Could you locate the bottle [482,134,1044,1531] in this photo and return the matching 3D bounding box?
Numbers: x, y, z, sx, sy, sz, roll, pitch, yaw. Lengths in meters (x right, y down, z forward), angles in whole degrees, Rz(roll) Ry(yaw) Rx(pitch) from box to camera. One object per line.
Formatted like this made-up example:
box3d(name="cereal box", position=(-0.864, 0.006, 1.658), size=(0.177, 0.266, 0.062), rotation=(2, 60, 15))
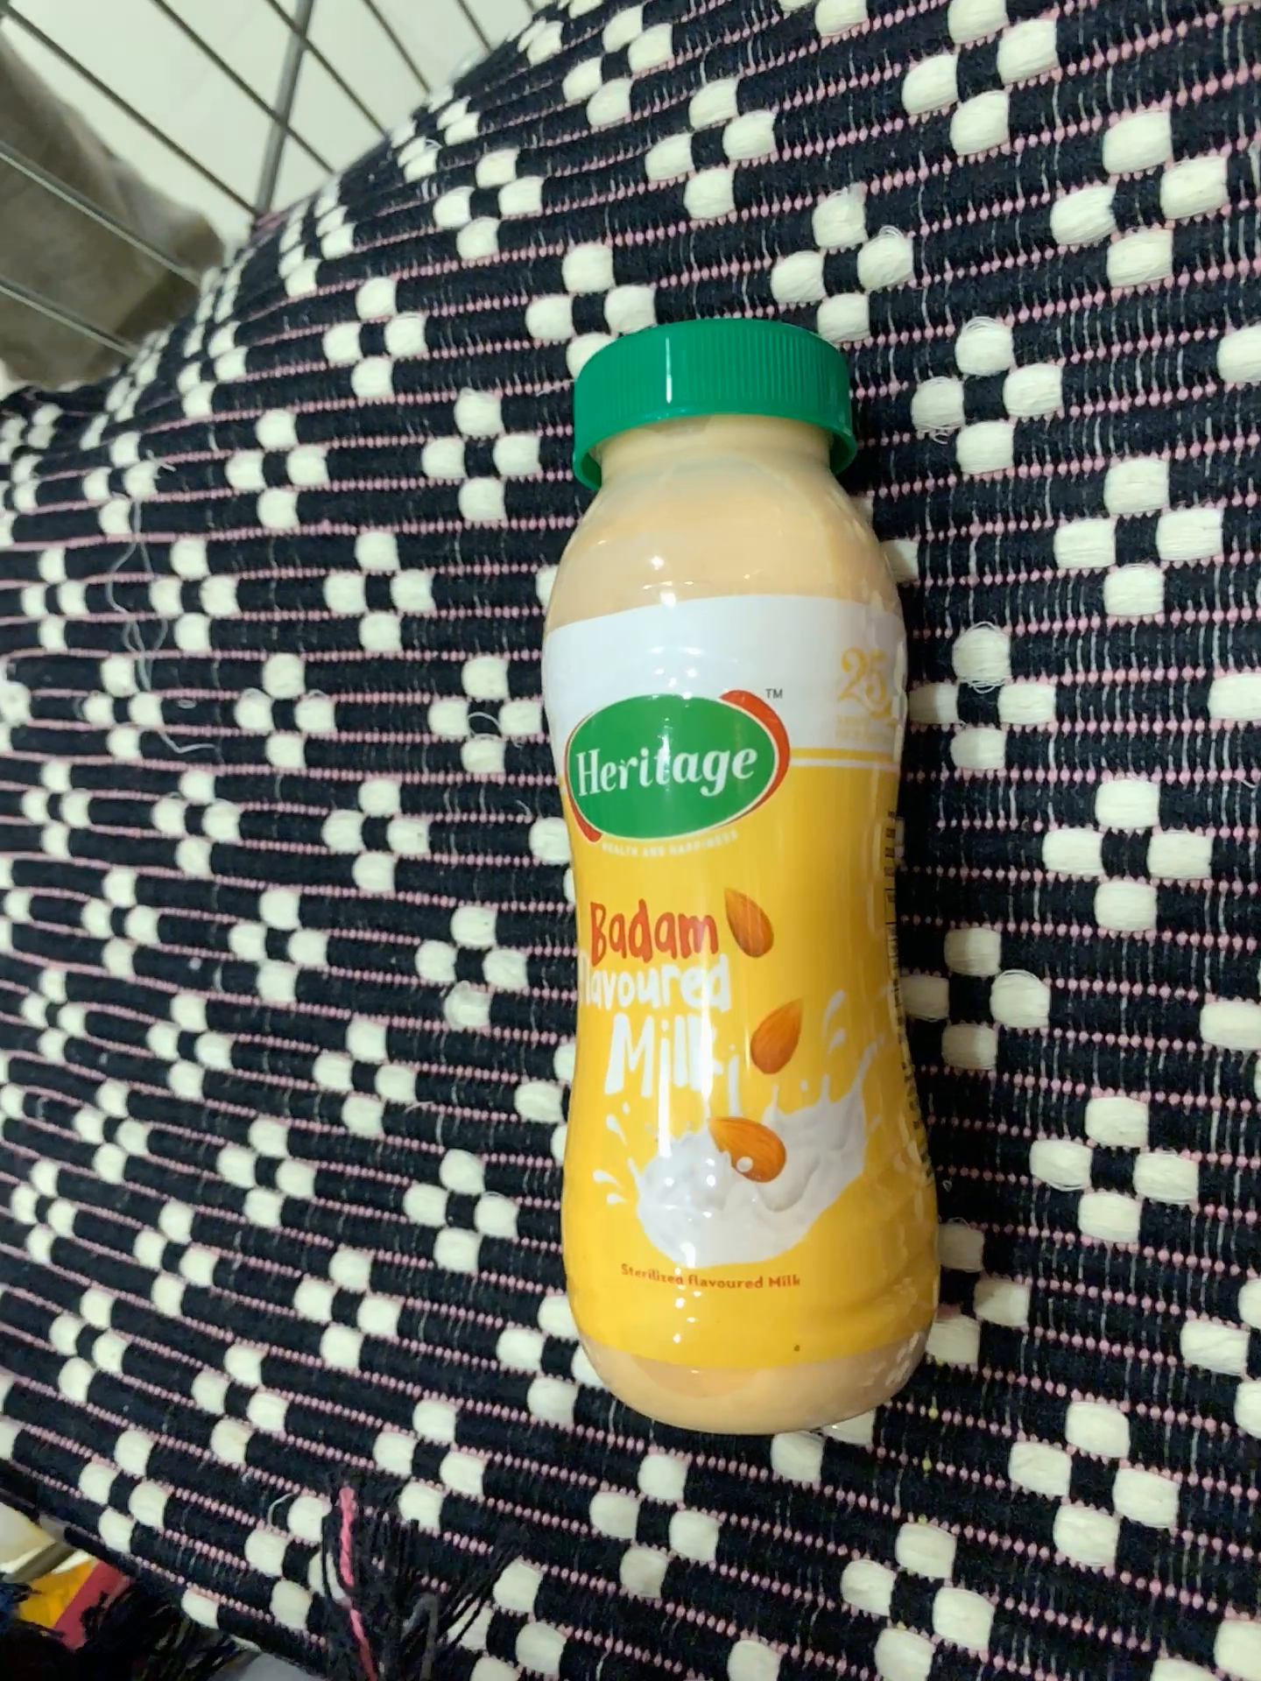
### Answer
box3d(name="bottle", position=(0.018, -0.002, 0.170), size=(0.060, 0.040, 0.150), rotation=(-2, 84, 23))
